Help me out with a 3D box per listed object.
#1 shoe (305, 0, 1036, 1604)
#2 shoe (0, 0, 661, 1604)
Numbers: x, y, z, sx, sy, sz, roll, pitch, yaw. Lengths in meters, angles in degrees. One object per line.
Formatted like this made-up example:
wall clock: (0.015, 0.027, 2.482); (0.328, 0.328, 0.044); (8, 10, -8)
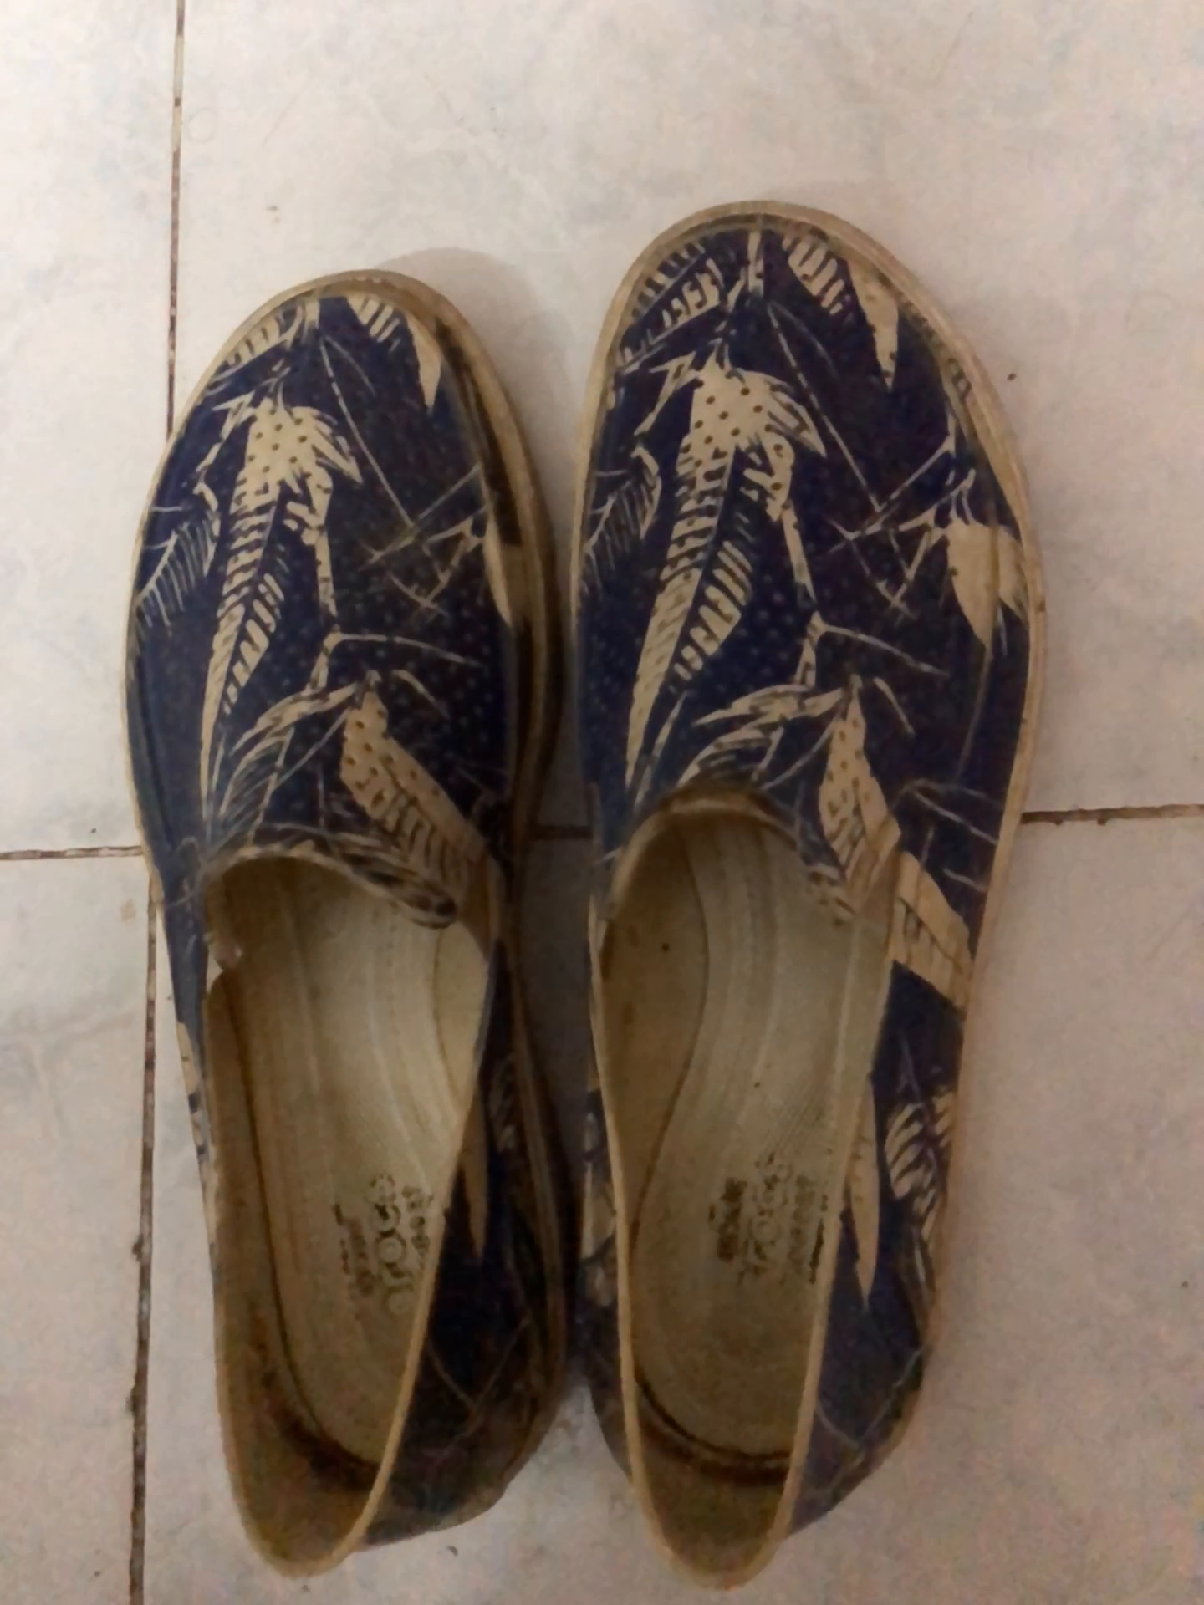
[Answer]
shoe: (0.027, 0.003, 0.272); (0.110, 0.100, 0.300); (1, 82, 19)
shoe: (-0.068, 0.004, 0.293); (0.110, 0.100, 0.310); (-8, 81, 10)
